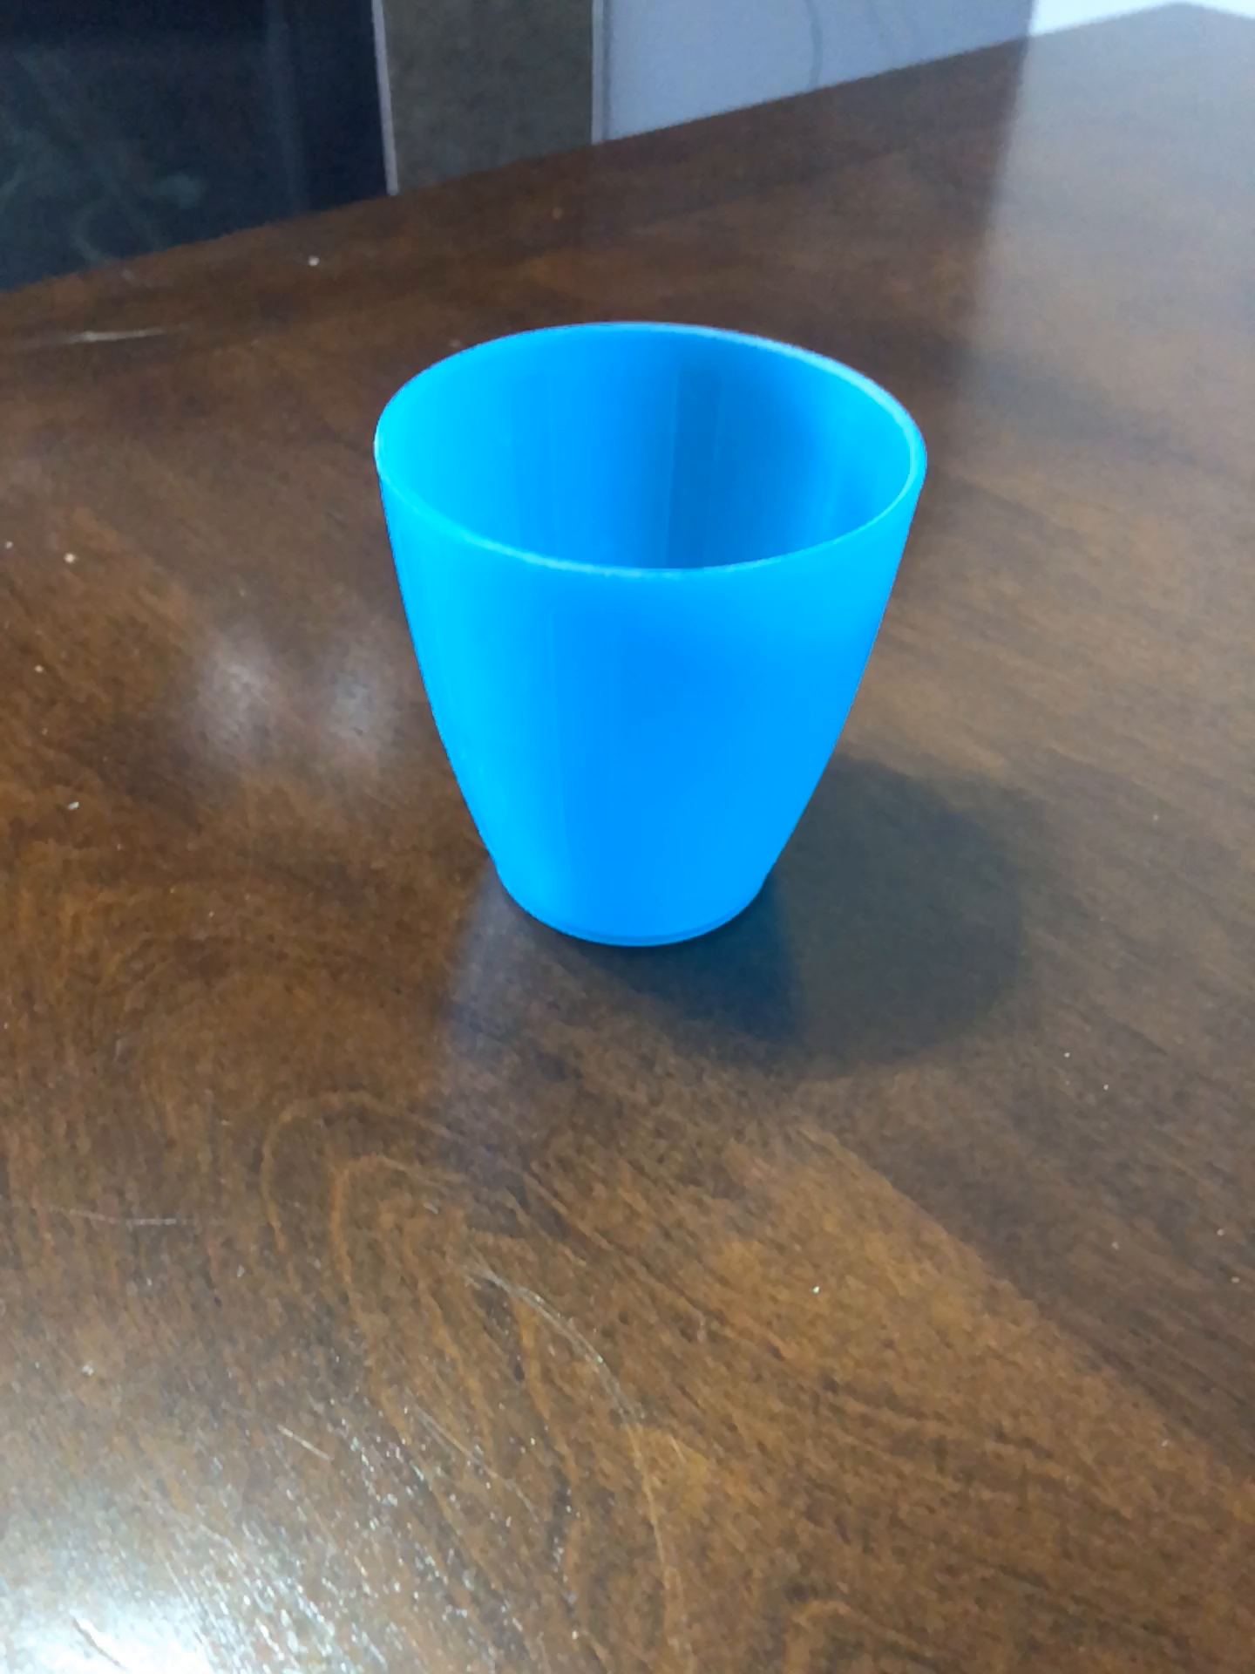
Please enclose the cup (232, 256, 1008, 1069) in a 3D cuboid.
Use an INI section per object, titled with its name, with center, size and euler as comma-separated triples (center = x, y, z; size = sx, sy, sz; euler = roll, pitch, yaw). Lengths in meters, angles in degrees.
[cup]
center = 0.000, -0.030, 0.216
size = 0.080, 0.080, 0.070
euler = 22, 45, 21
